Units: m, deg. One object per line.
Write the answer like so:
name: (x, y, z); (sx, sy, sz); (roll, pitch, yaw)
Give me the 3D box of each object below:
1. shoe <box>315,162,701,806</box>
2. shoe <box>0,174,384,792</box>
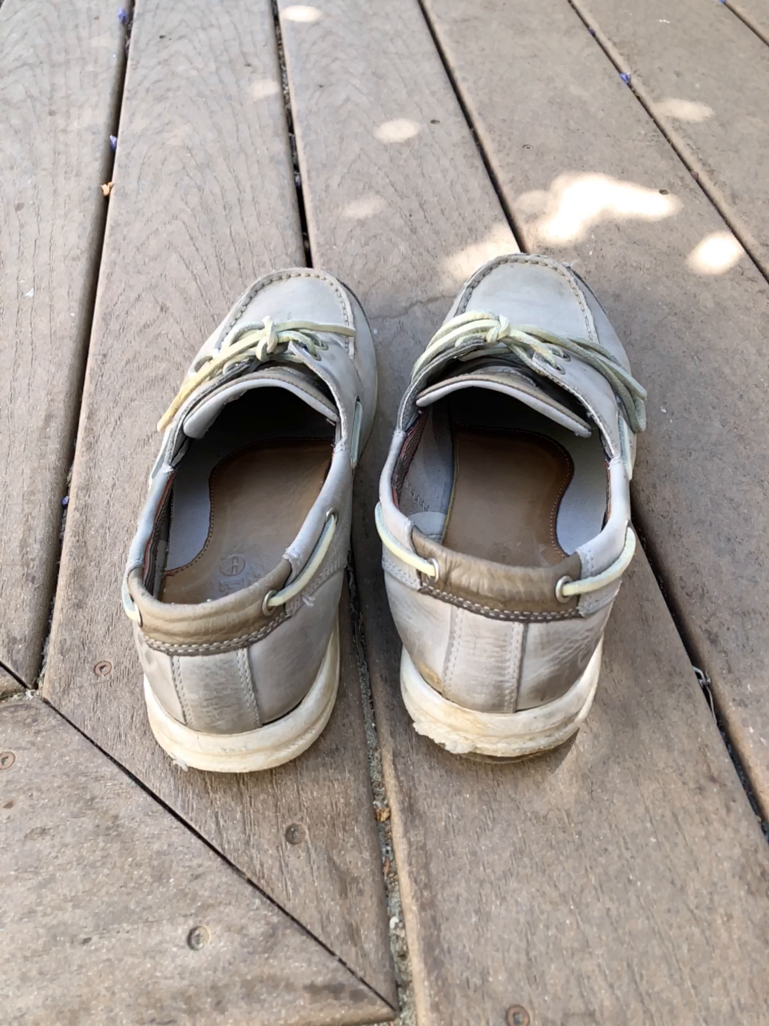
shoe: (0.066, -0.041, 0.404); (0.121, 0.097, 0.313); (6, 50, 8)
shoe: (-0.062, -0.038, 0.408); (0.119, 0.095, 0.311); (-1, 49, 2)
